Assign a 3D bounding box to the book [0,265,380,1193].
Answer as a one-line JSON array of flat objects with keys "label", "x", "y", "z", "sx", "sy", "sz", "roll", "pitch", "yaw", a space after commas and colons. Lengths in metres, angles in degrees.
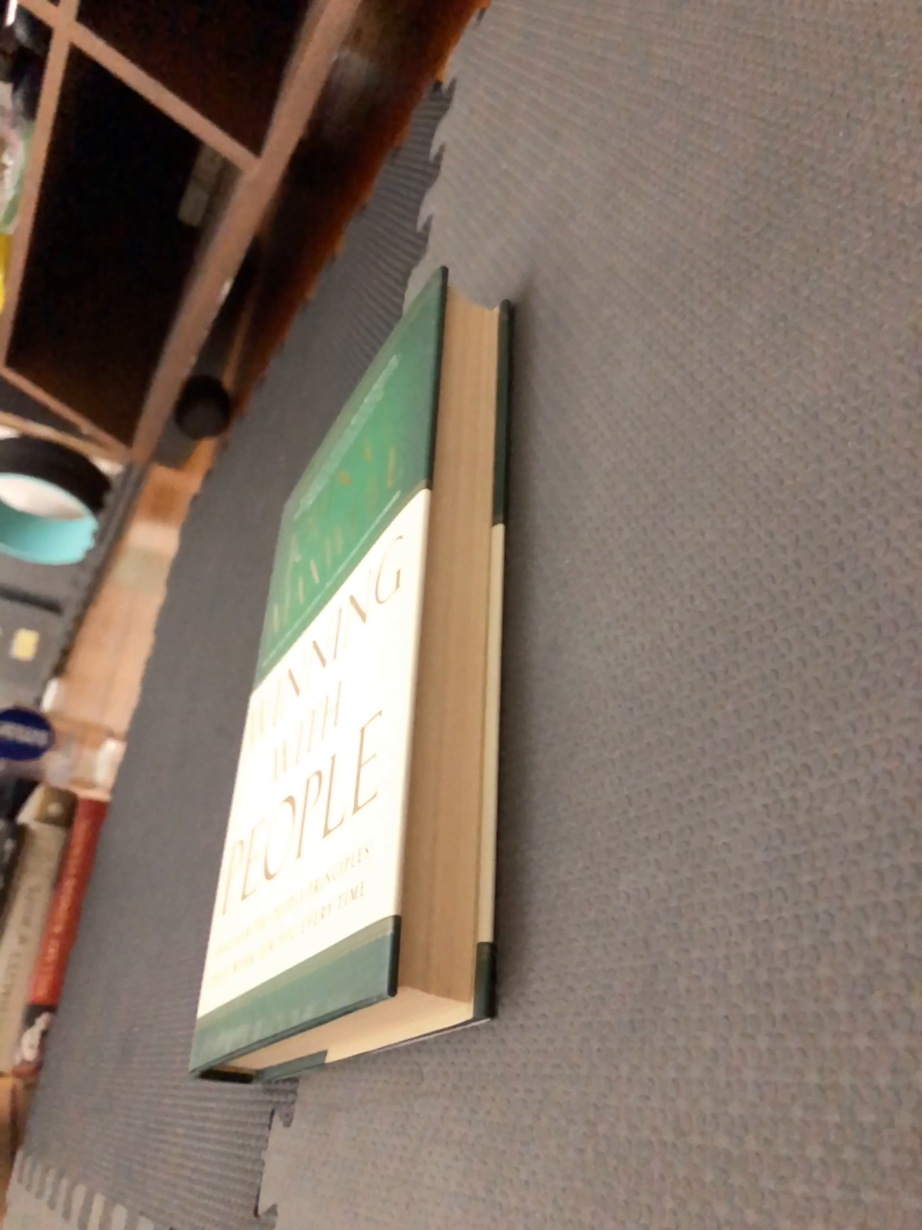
[{"label": "book", "x": -0.102, "y": 0.044, "z": 0.385, "sx": 0.200, "sy": 0.030, "sz": 0.291, "roll": -41, "pitch": 36, "yaw": 52}]
